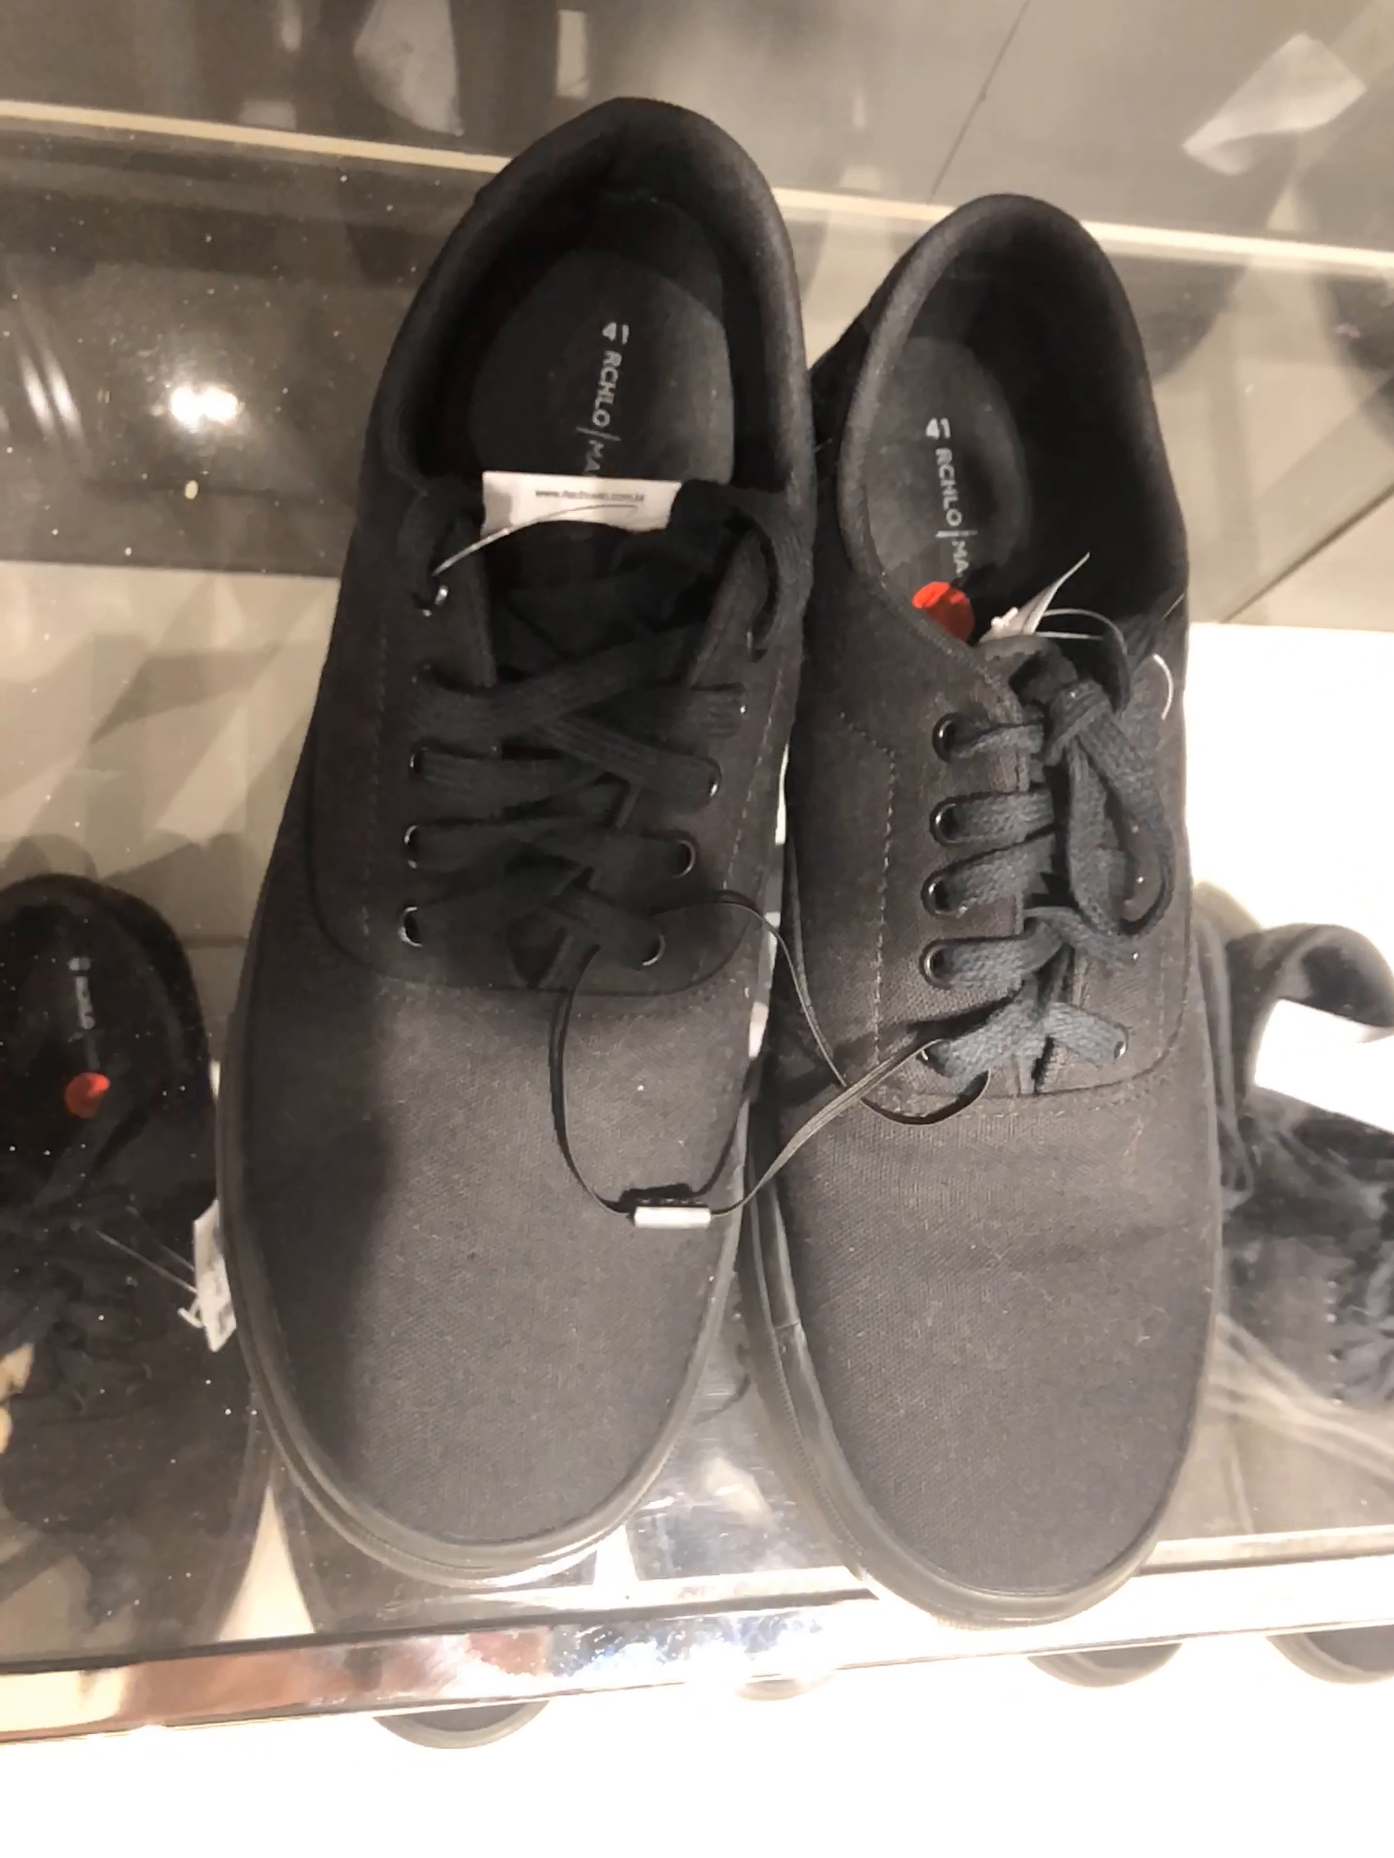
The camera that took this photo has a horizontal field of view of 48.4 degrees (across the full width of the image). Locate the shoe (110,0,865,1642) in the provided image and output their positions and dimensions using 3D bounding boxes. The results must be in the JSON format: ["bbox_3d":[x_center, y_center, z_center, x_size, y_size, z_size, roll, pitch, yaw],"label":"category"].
[{"bbox_3d":[-0.038,-0.029,0.341,0.110,0.110,0.320,6,76,-10],"label":"shoe"}]

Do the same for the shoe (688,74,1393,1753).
[{"bbox_3d":[0.066,-0.009,0.351,0.110,0.110,0.320,1,77,-11],"label":"shoe"}]
